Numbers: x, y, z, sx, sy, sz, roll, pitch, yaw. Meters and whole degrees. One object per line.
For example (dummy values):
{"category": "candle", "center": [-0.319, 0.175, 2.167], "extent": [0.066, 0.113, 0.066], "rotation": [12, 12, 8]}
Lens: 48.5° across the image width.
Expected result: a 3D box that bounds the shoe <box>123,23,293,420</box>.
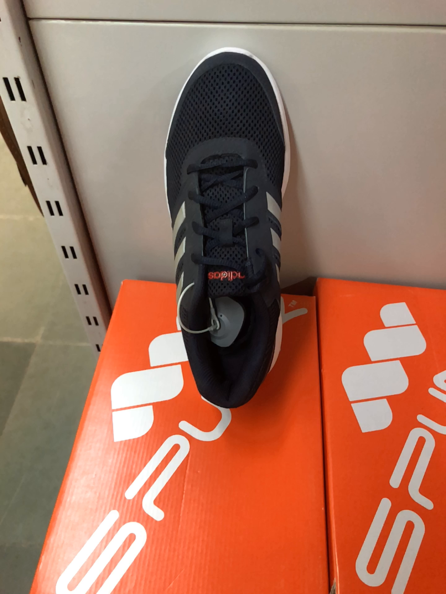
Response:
{"category": "shoe", "center": [-0.002, -0.050, 0.392], "extent": [0.110, 0.271, 0.088], "rotation": [-1, 11, 8]}
